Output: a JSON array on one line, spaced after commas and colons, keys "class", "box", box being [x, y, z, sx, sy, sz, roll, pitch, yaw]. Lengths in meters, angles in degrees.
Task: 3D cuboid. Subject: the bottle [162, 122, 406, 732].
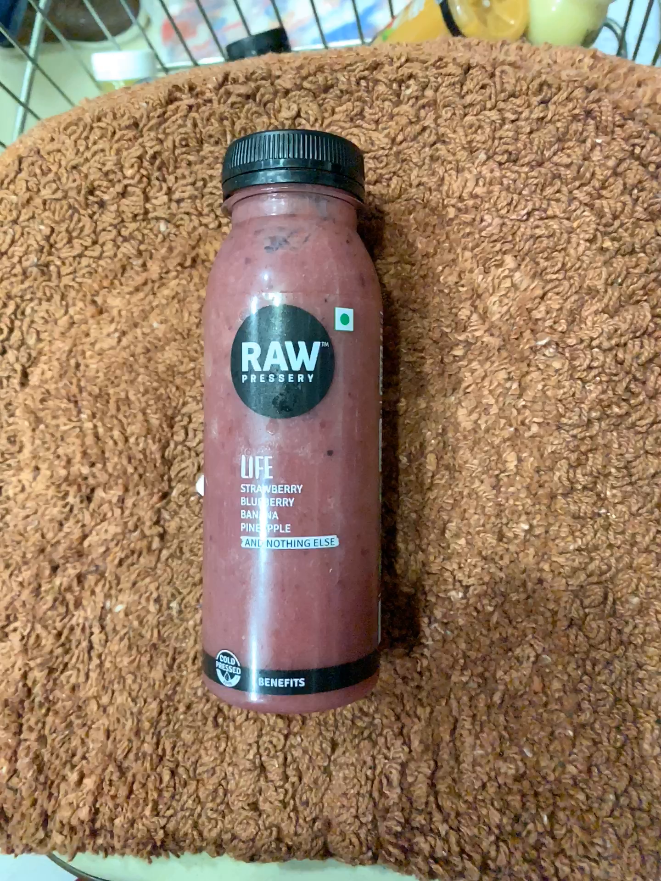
[{"class": "bottle", "box": [-0.010, -0.004, 0.197, 0.060, 0.050, 0.150, 0, 90, 4]}]
